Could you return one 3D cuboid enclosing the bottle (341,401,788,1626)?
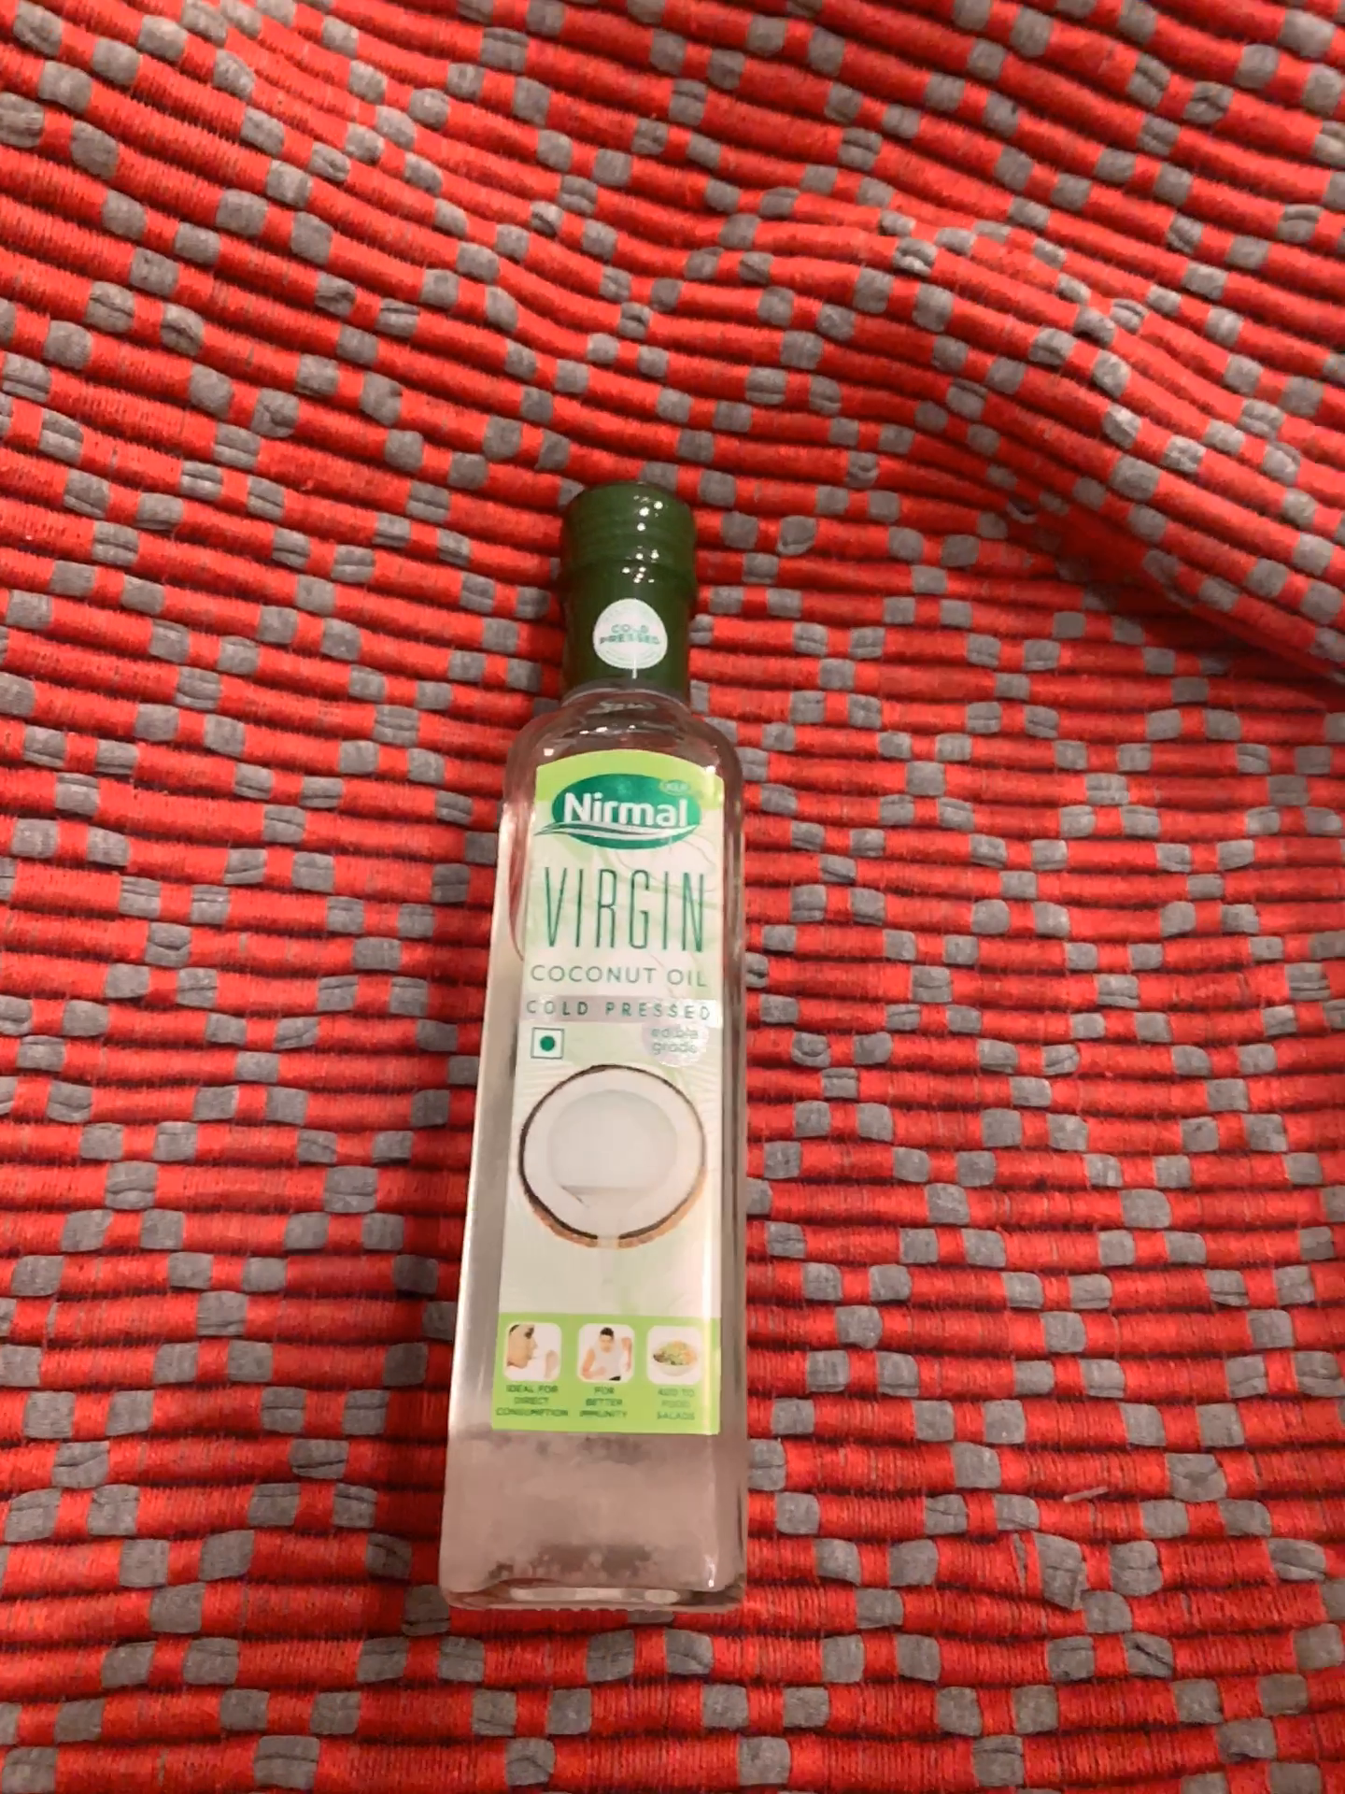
[{"bbox_3d":[-0.017,0.013,0.264,0.060,0.060,0.220,2,64,-4],"label":"bottle"}]
